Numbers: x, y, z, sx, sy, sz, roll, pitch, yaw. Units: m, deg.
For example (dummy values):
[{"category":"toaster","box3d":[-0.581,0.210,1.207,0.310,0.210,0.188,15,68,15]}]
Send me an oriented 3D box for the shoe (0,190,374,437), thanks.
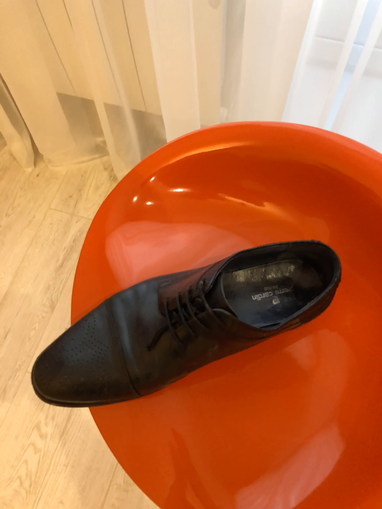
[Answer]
[{"category":"shoe","box3d":[-0.009,0.053,0.387,0.300,0.080,0.120,-18,65,-6]}]
